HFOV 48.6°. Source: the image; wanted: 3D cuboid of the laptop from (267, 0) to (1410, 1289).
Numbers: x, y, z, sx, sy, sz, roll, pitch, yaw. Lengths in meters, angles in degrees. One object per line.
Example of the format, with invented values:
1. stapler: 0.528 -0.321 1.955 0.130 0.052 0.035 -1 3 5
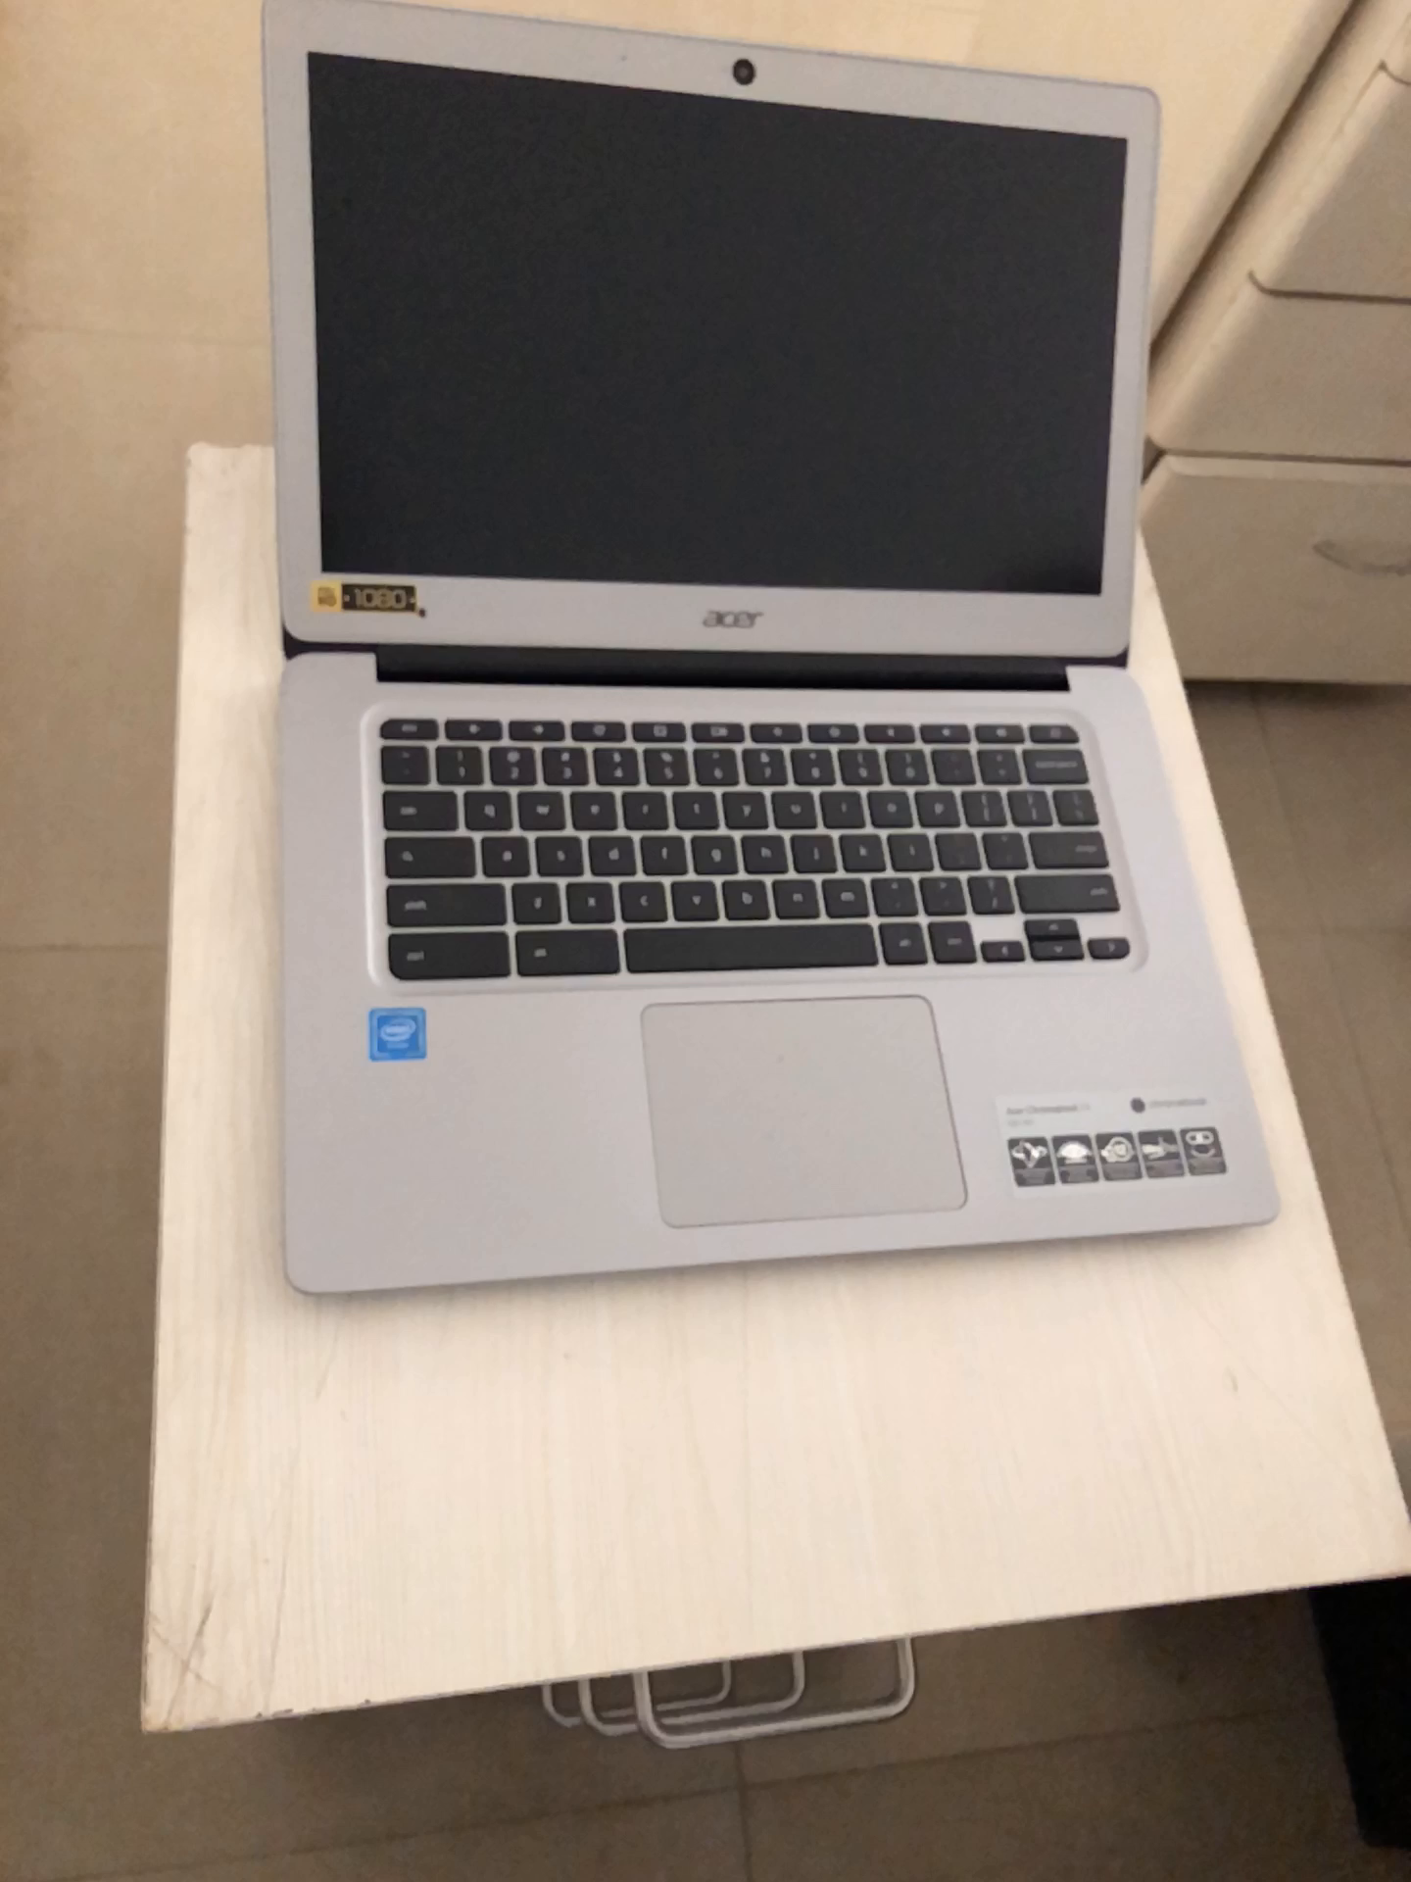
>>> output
1. laptop: 0.025 -0.110 0.539 0.332 0.126 0.409 -1 65 -13
